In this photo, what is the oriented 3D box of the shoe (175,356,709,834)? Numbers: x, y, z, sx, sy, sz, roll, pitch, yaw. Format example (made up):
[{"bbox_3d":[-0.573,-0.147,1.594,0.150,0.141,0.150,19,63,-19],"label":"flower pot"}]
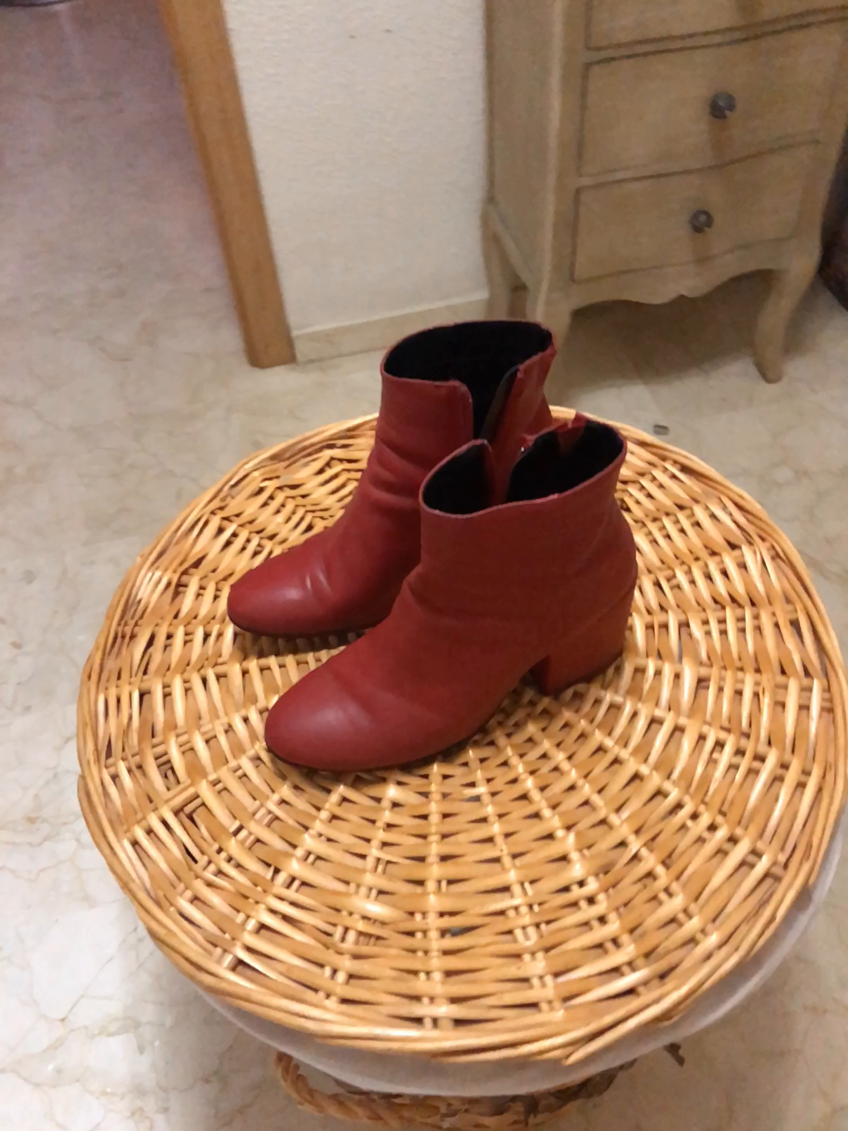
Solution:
[{"bbox_3d":[0.014,0.020,0.532,0.244,0.184,0.099,-22,52,-13],"label":"shoe"}]

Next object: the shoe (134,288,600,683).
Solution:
[{"bbox_3d":[-0.031,-0.045,0.591,0.244,0.184,0.099,-13,51,-6],"label":"shoe"}]
